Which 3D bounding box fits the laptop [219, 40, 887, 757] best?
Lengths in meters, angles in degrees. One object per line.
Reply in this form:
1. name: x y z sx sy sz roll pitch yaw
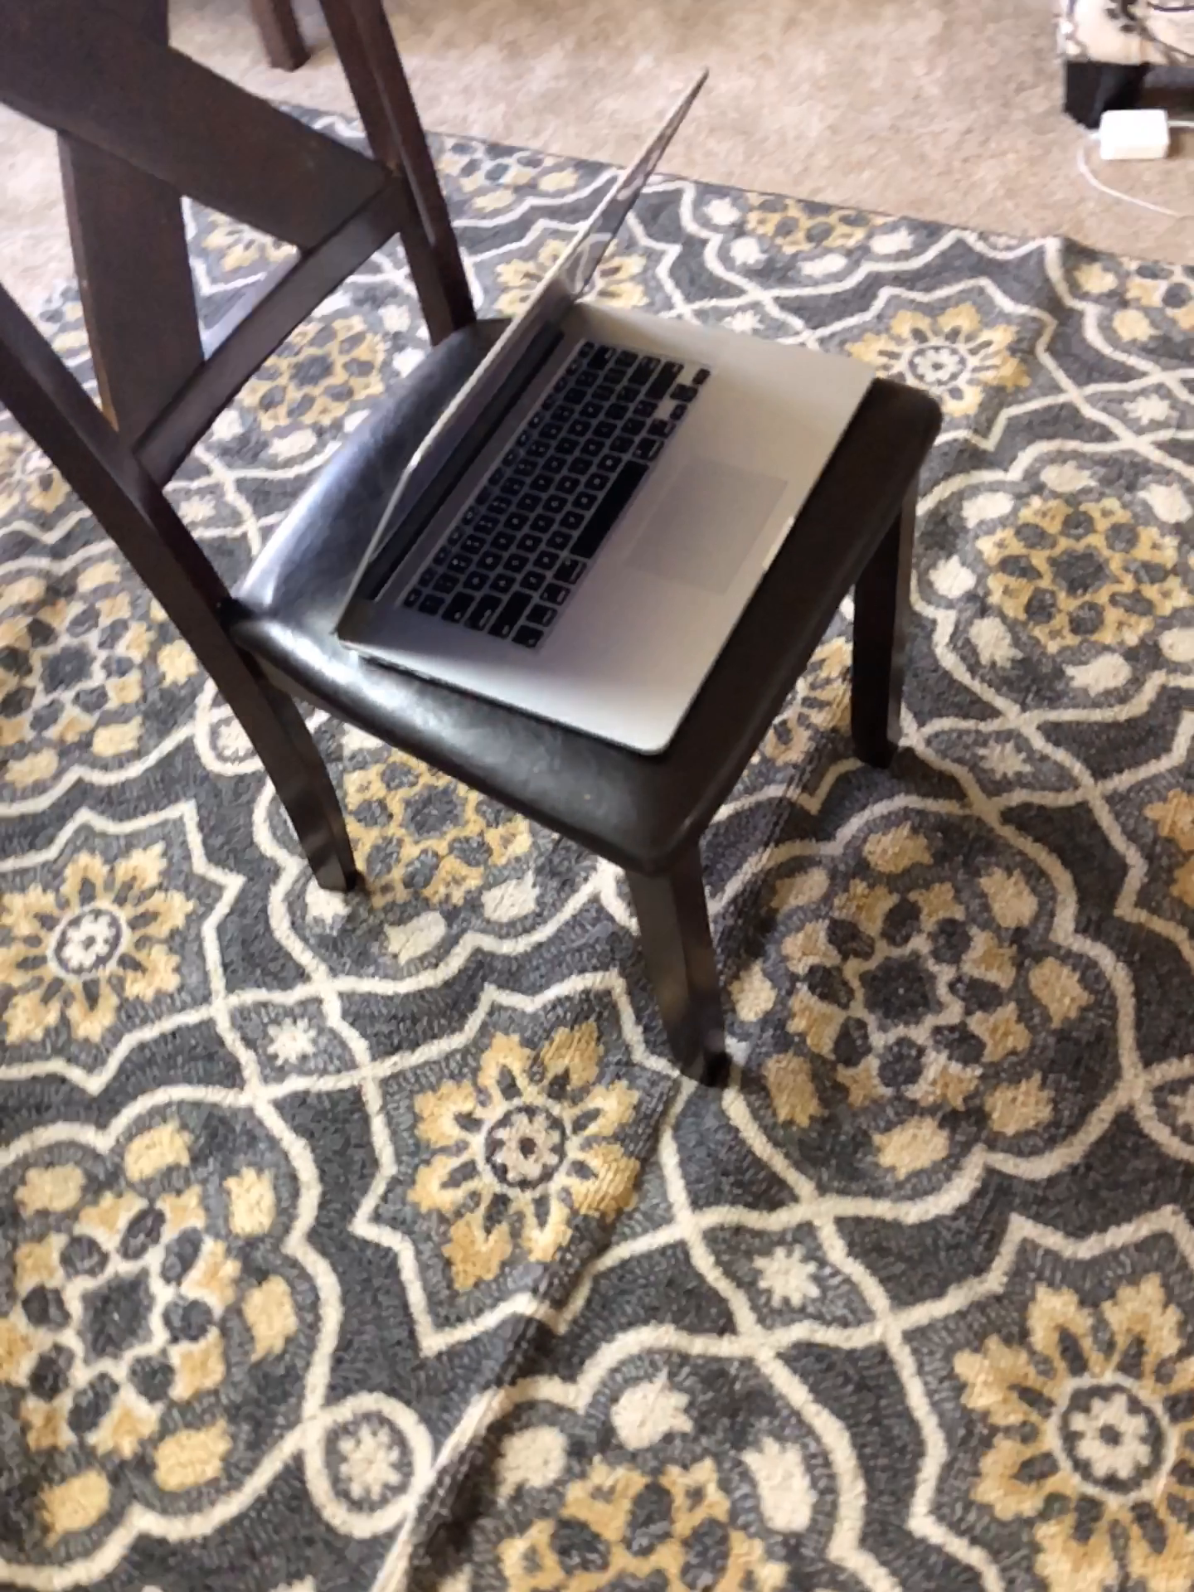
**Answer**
1. laptop: -0.002 -0.253 0.799 0.237 0.200 0.351 19 63 21
